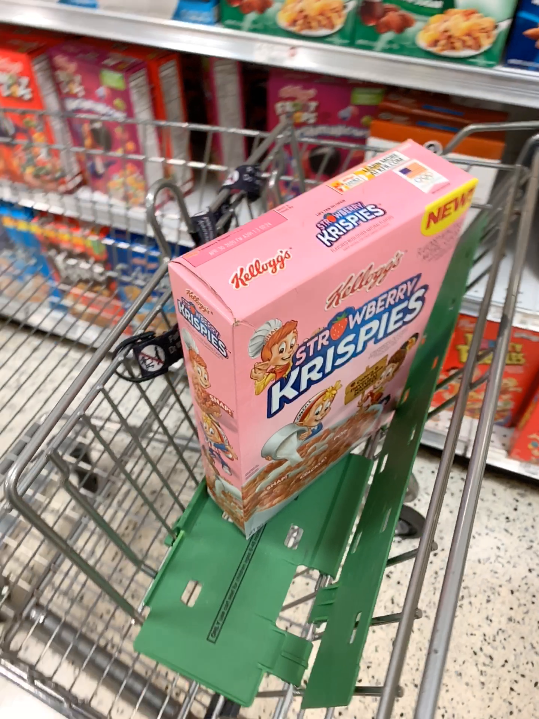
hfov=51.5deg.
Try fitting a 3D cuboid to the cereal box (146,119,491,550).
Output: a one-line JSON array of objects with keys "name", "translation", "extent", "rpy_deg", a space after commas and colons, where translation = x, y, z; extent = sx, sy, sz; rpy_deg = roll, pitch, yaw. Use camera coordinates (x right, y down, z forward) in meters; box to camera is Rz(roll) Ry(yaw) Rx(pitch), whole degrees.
[{"name": "cereal box", "translation": [0.032, 0.003, 0.428], "extent": [0.211, 0.297, 0.060], "rpy_deg": [-33, 60, -25]}]
